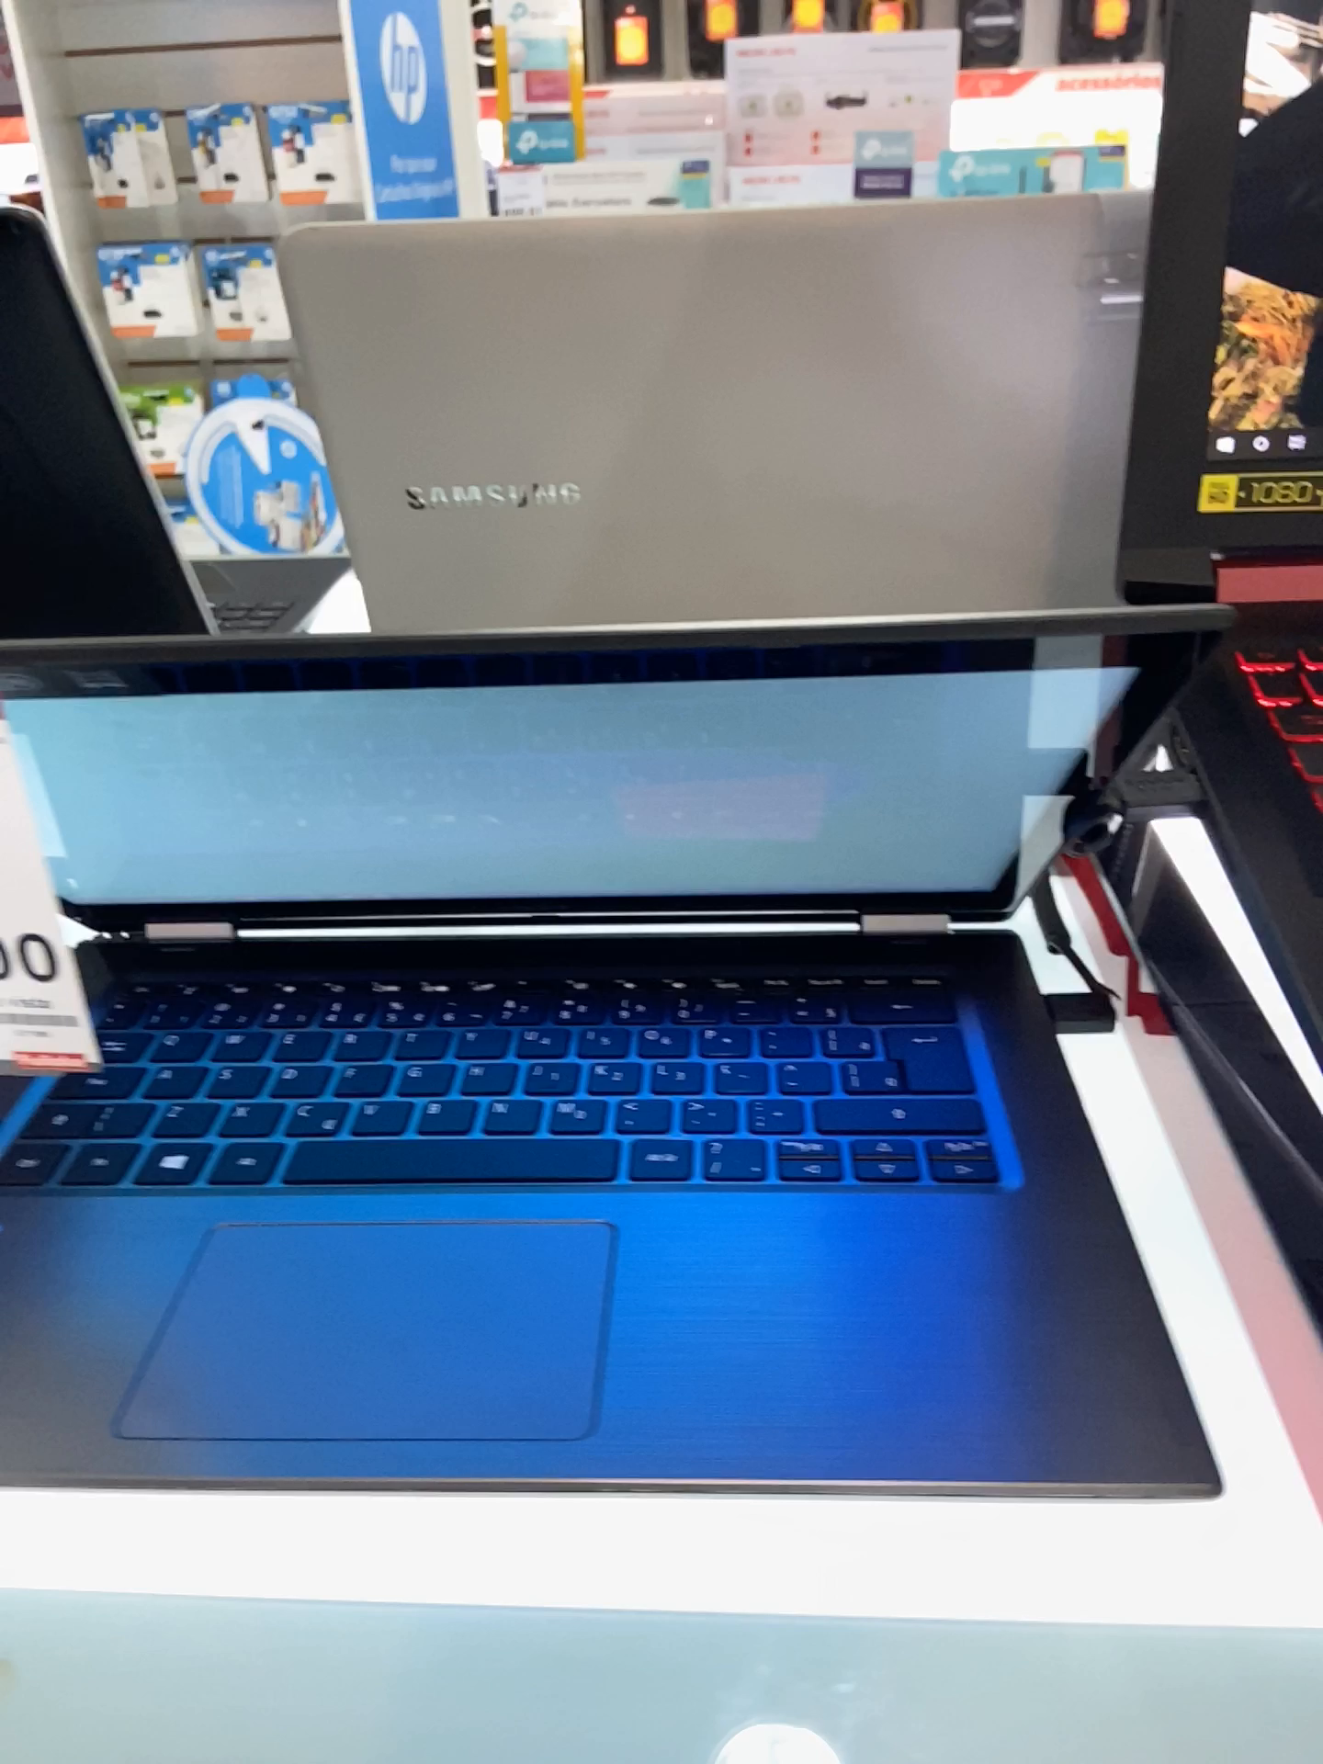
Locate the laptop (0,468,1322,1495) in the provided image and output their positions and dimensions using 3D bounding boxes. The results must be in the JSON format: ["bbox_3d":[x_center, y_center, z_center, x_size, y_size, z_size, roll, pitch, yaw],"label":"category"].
[{"bbox_3d":[-0.051,0.003,0.344,0.328,0.154,0.220,-1,28,3],"label":"laptop"}]
